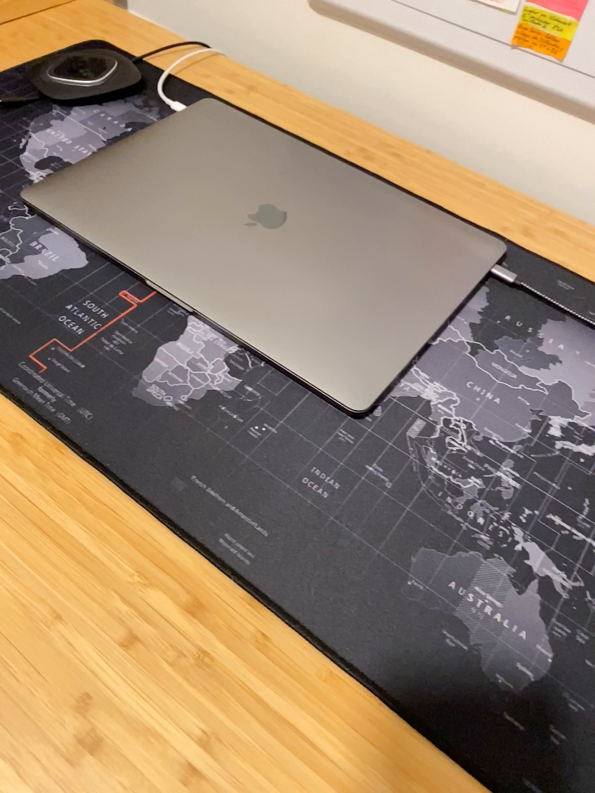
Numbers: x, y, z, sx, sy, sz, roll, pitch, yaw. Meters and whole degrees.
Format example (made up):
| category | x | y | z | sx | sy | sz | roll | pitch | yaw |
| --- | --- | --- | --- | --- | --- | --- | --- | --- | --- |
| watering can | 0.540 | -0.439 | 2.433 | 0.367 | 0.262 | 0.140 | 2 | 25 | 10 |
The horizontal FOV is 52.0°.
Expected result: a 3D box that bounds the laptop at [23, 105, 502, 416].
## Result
| category | x | y | z | sx | sy | sz | roll | pitch | yaw |
| --- | --- | --- | --- | --- | --- | --- | --- | --- | --- |
| laptop | -0.028 | -0.144 | 0.509 | 0.336 | 0.002 | 0.227 | 33 | 56 | 19 |
